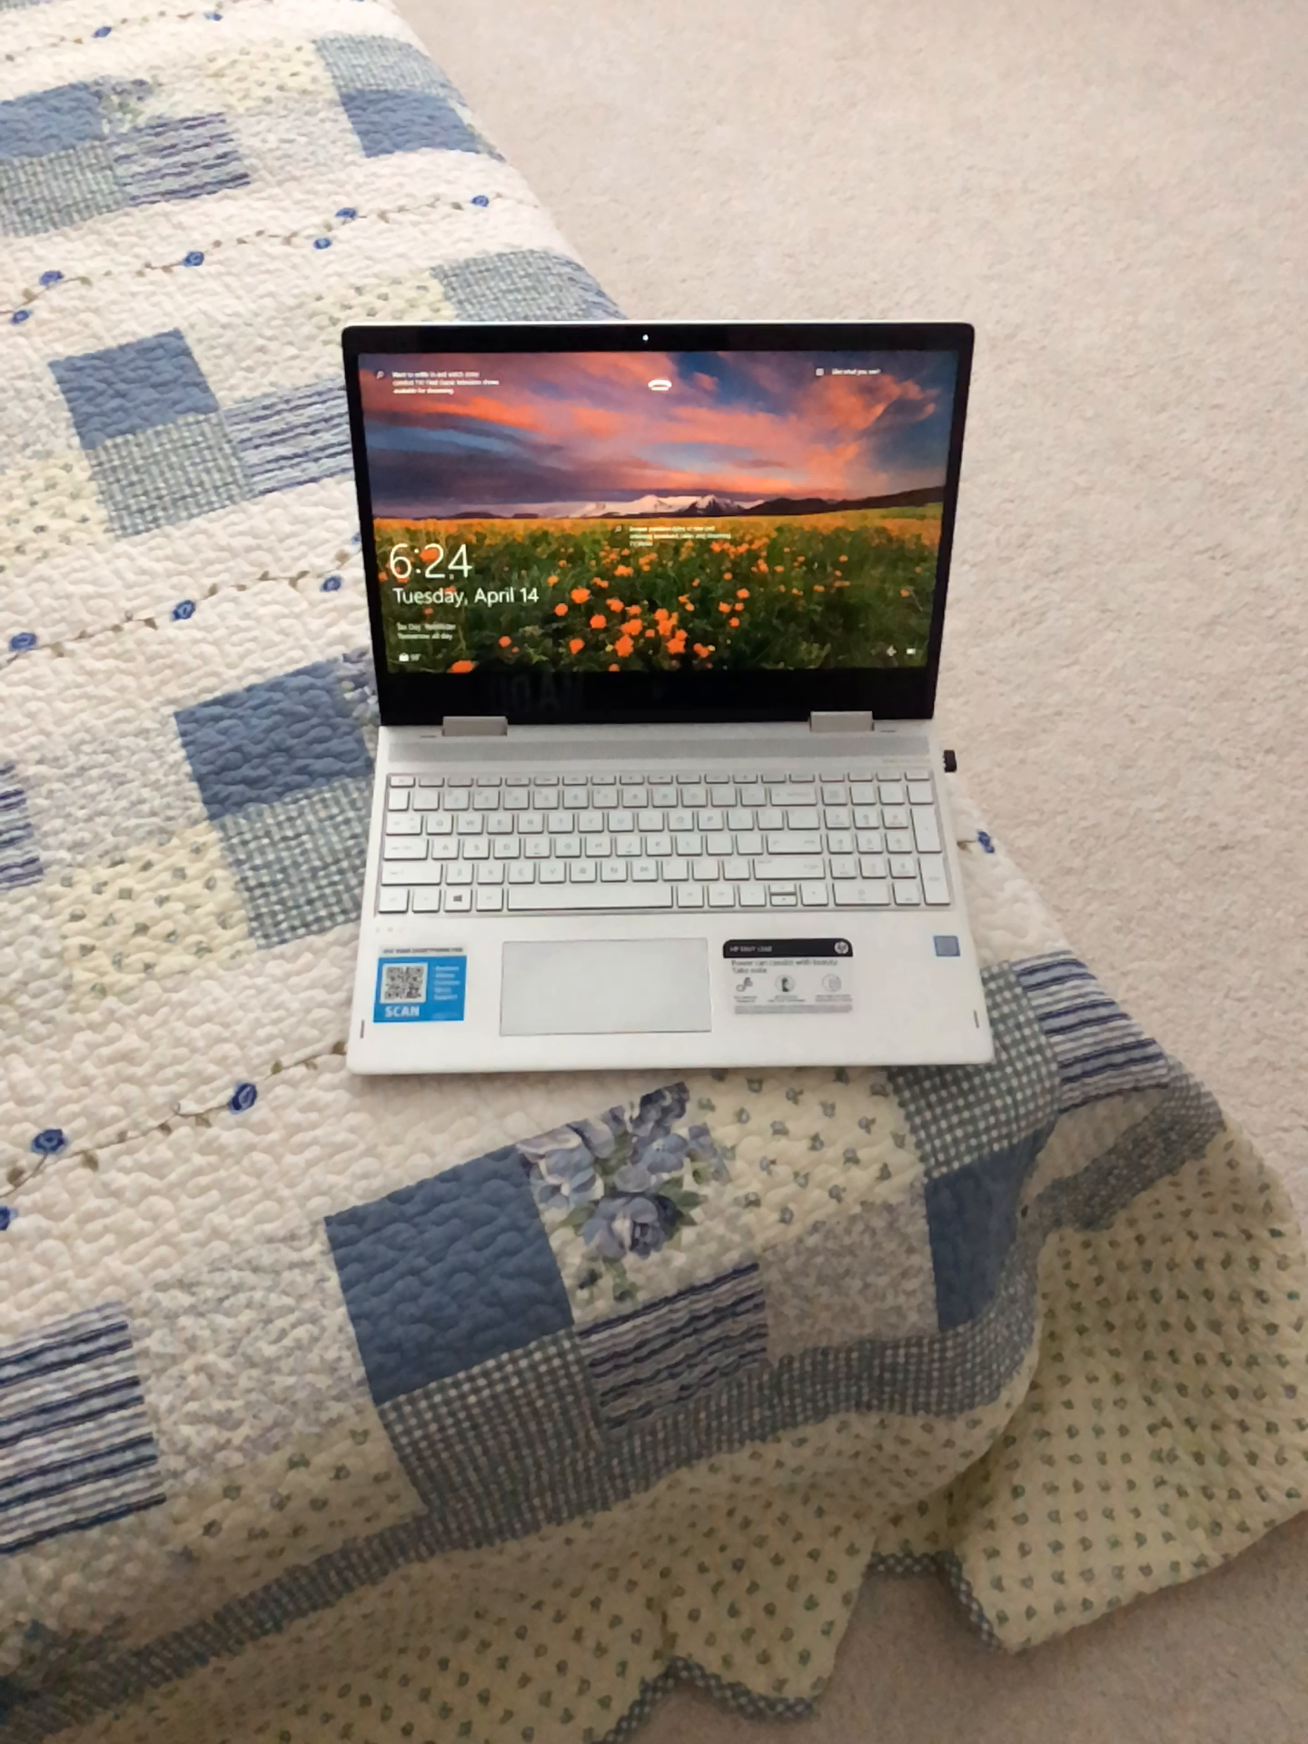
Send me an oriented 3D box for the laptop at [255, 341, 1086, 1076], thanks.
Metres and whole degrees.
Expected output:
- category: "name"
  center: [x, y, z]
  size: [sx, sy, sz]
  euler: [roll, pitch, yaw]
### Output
- category: "laptop"
  center: [0.004, -0.095, 0.802]
  size: [0.355, 0.208, 0.358]
  euler: [-1, 57, -2]
